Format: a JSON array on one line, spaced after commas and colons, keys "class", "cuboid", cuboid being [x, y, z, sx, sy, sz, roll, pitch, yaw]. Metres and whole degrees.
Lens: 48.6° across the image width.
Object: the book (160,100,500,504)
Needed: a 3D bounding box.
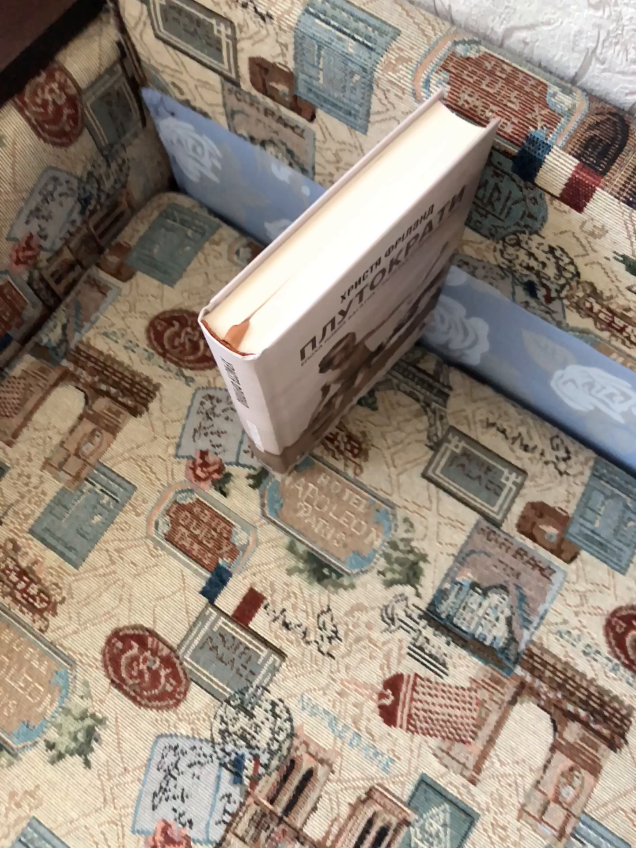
[{"class": "book", "cuboid": [0.007, -0.046, 0.406, 0.040, 0.220, 0.170, 42, 78, 10]}]
